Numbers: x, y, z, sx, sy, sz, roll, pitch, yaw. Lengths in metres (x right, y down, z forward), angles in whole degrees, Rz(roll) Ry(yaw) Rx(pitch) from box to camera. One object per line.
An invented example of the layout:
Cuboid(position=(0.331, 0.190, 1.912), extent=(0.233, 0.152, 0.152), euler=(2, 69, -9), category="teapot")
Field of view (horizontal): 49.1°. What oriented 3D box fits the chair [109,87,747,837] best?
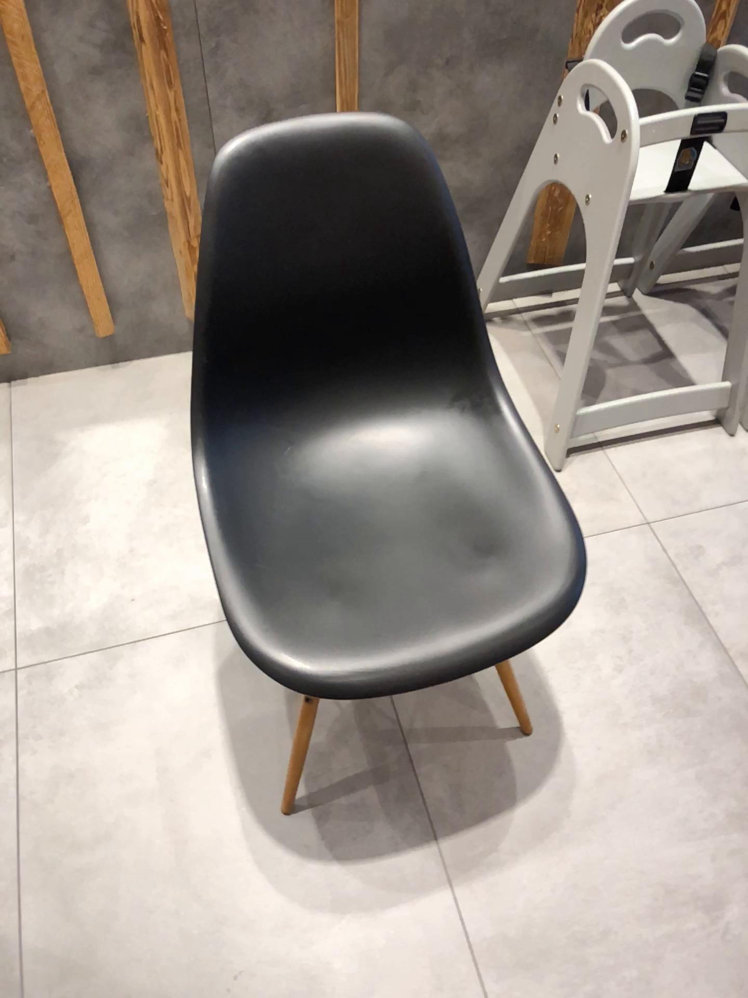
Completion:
Cuboid(position=(0.017, -0.018, 1.114), extent=(0.508, 0.758, 0.566), euler=(-13, 53, -13), category="chair")
